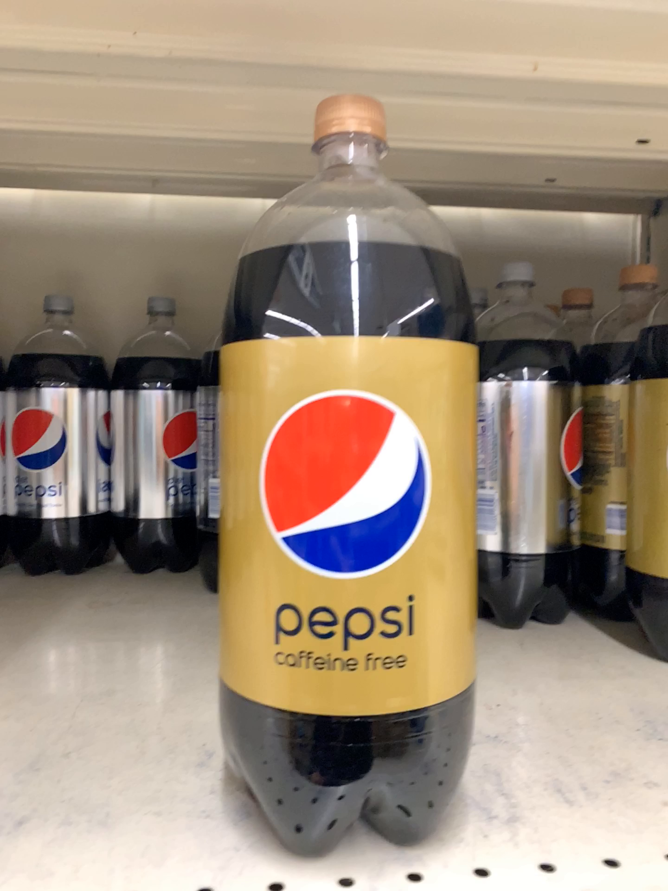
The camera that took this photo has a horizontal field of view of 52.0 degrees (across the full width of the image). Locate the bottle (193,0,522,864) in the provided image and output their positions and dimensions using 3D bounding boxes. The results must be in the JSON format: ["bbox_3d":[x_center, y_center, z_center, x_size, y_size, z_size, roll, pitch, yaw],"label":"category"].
[{"bbox_3d":[0.007,-0.006,0.290,0.110,0.300,0.110,0,2,0],"label":"bottle"}]
